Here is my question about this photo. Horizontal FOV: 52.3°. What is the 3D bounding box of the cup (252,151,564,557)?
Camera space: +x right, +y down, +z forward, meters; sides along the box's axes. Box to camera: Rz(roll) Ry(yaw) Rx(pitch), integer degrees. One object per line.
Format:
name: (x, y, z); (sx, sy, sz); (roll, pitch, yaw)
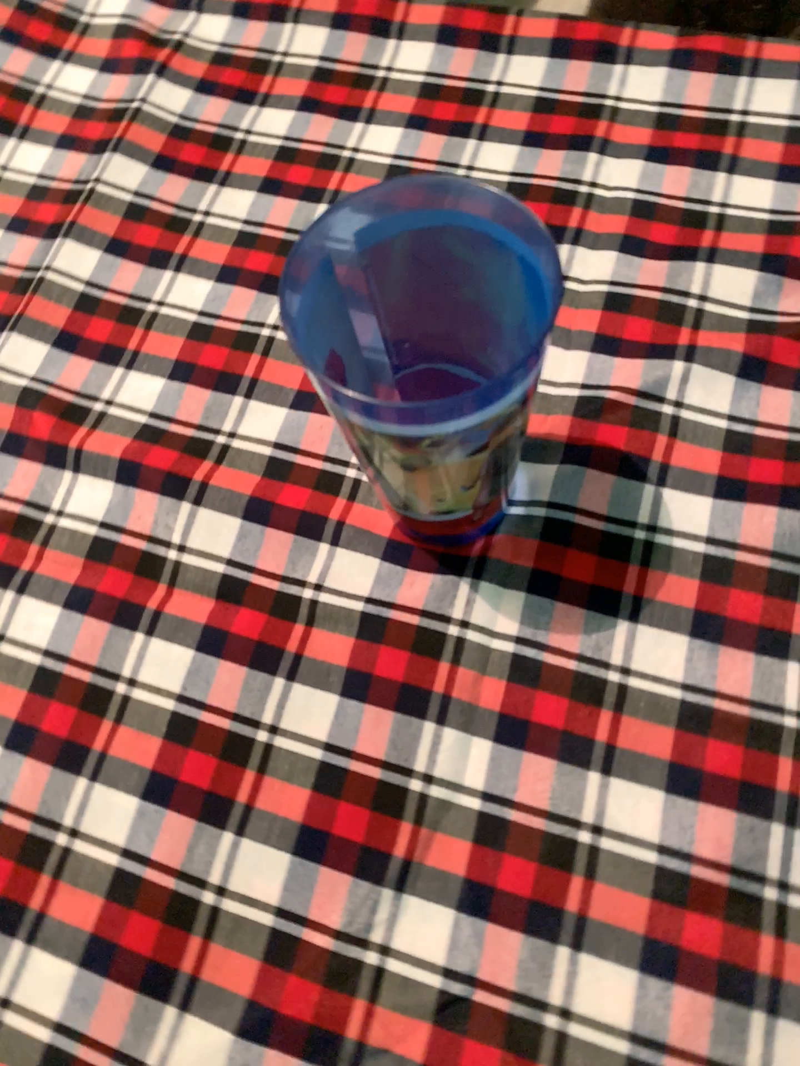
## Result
cup: (0.010, -0.057, 0.311); (0.090, 0.130, 0.090); (-2, 66, 5)
